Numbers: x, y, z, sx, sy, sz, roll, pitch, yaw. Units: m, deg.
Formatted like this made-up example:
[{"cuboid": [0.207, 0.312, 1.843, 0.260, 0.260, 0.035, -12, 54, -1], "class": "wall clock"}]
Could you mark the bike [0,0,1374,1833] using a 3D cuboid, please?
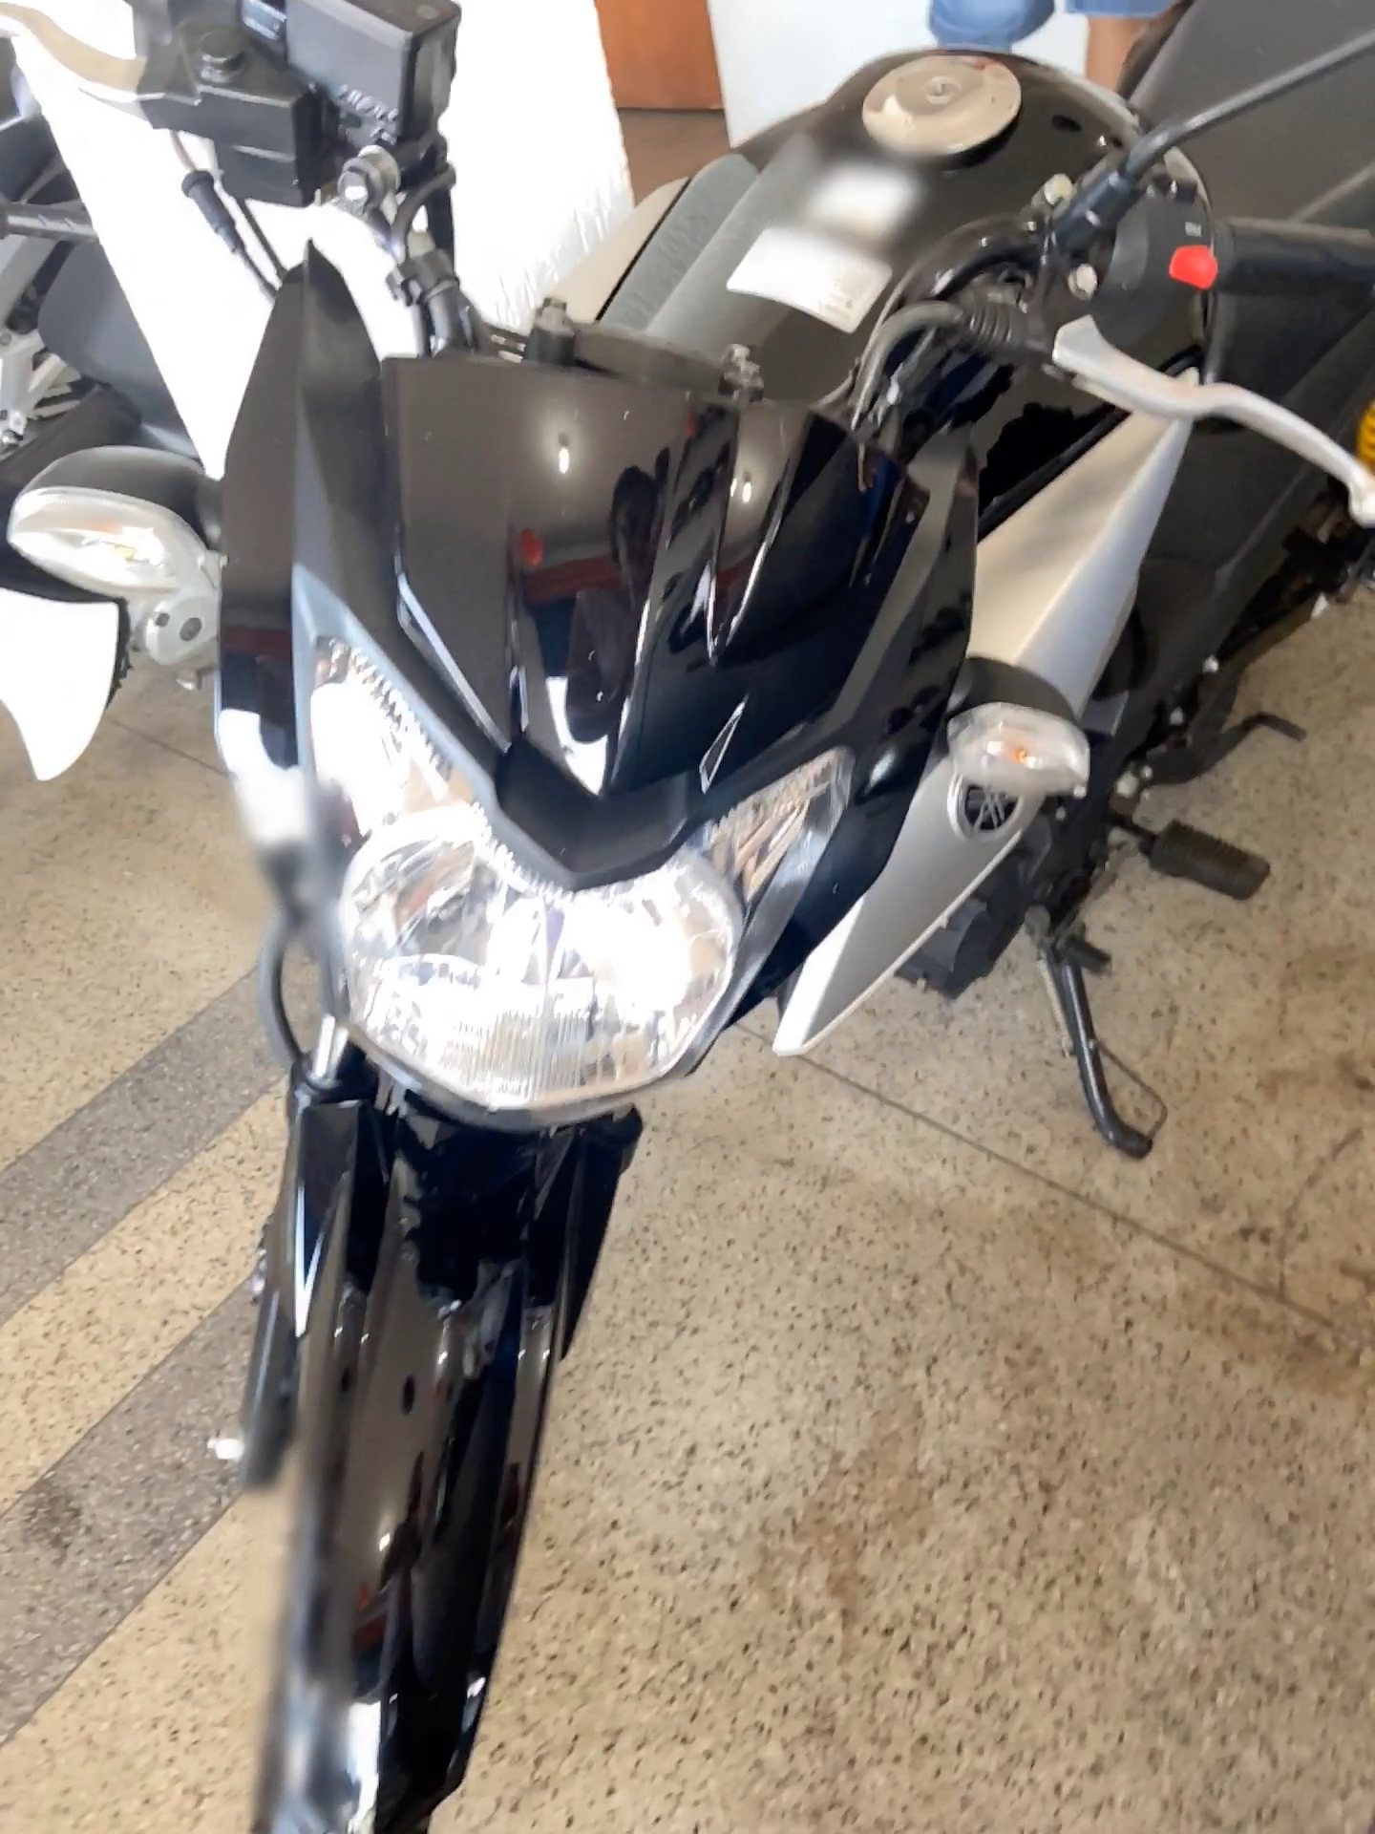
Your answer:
[{"cuboid": [0.411, -0.192, 1.038, 0.817, 1.331, 2.009, 17, 51, 31], "class": "bike"}]
